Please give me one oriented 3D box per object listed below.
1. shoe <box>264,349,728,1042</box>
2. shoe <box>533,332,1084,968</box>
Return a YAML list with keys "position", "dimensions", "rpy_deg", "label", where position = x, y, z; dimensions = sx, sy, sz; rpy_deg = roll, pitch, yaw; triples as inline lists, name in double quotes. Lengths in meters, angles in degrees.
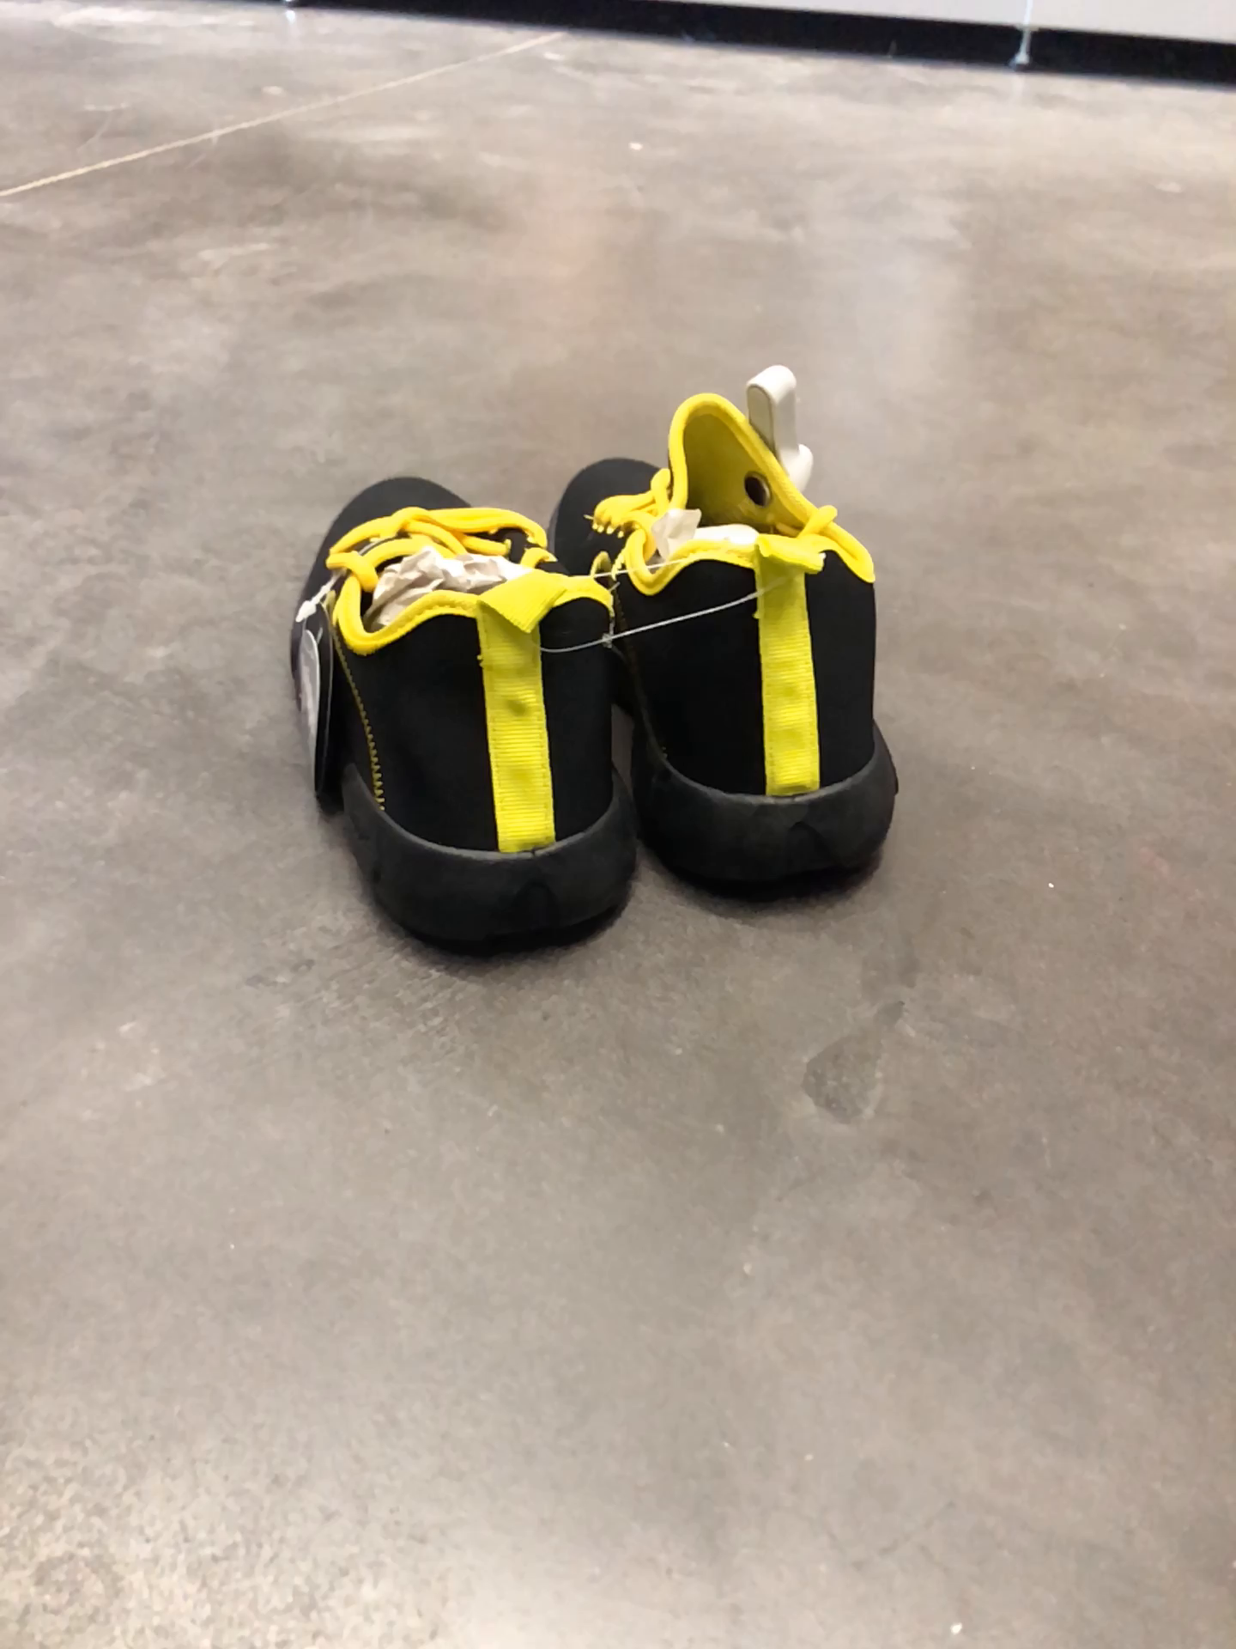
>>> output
- position: [-0.049, -0.058, 0.422]
  dimensions: [0.090, 0.099, 0.231]
  rpy_deg: [-8, 38, -13]
  label: "shoe"
- position: [0.042, -0.074, 0.450]
  dimensions: [0.090, 0.099, 0.231]
  rpy_deg: [-8, 38, -13]
  label: "shoe"
